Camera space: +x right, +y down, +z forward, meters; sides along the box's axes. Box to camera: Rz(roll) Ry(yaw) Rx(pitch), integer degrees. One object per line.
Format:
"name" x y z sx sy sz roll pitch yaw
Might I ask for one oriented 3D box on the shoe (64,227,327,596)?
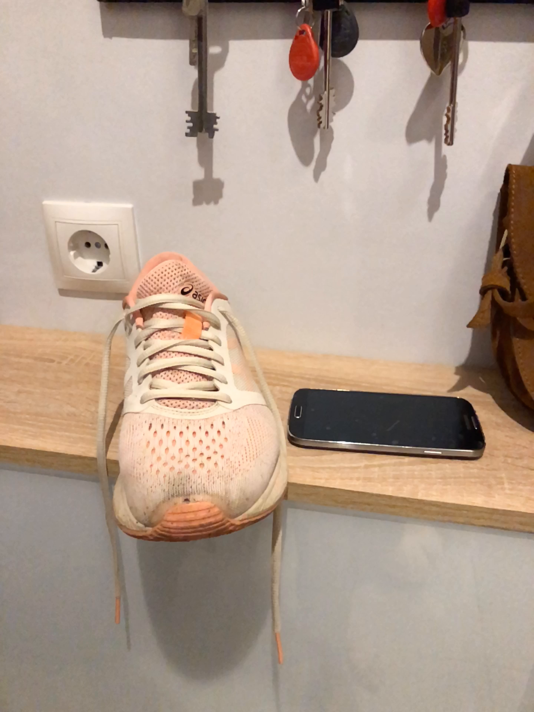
"shoe" -0.045 0.005 0.390 0.110 0.103 0.270 -4 28 -6
